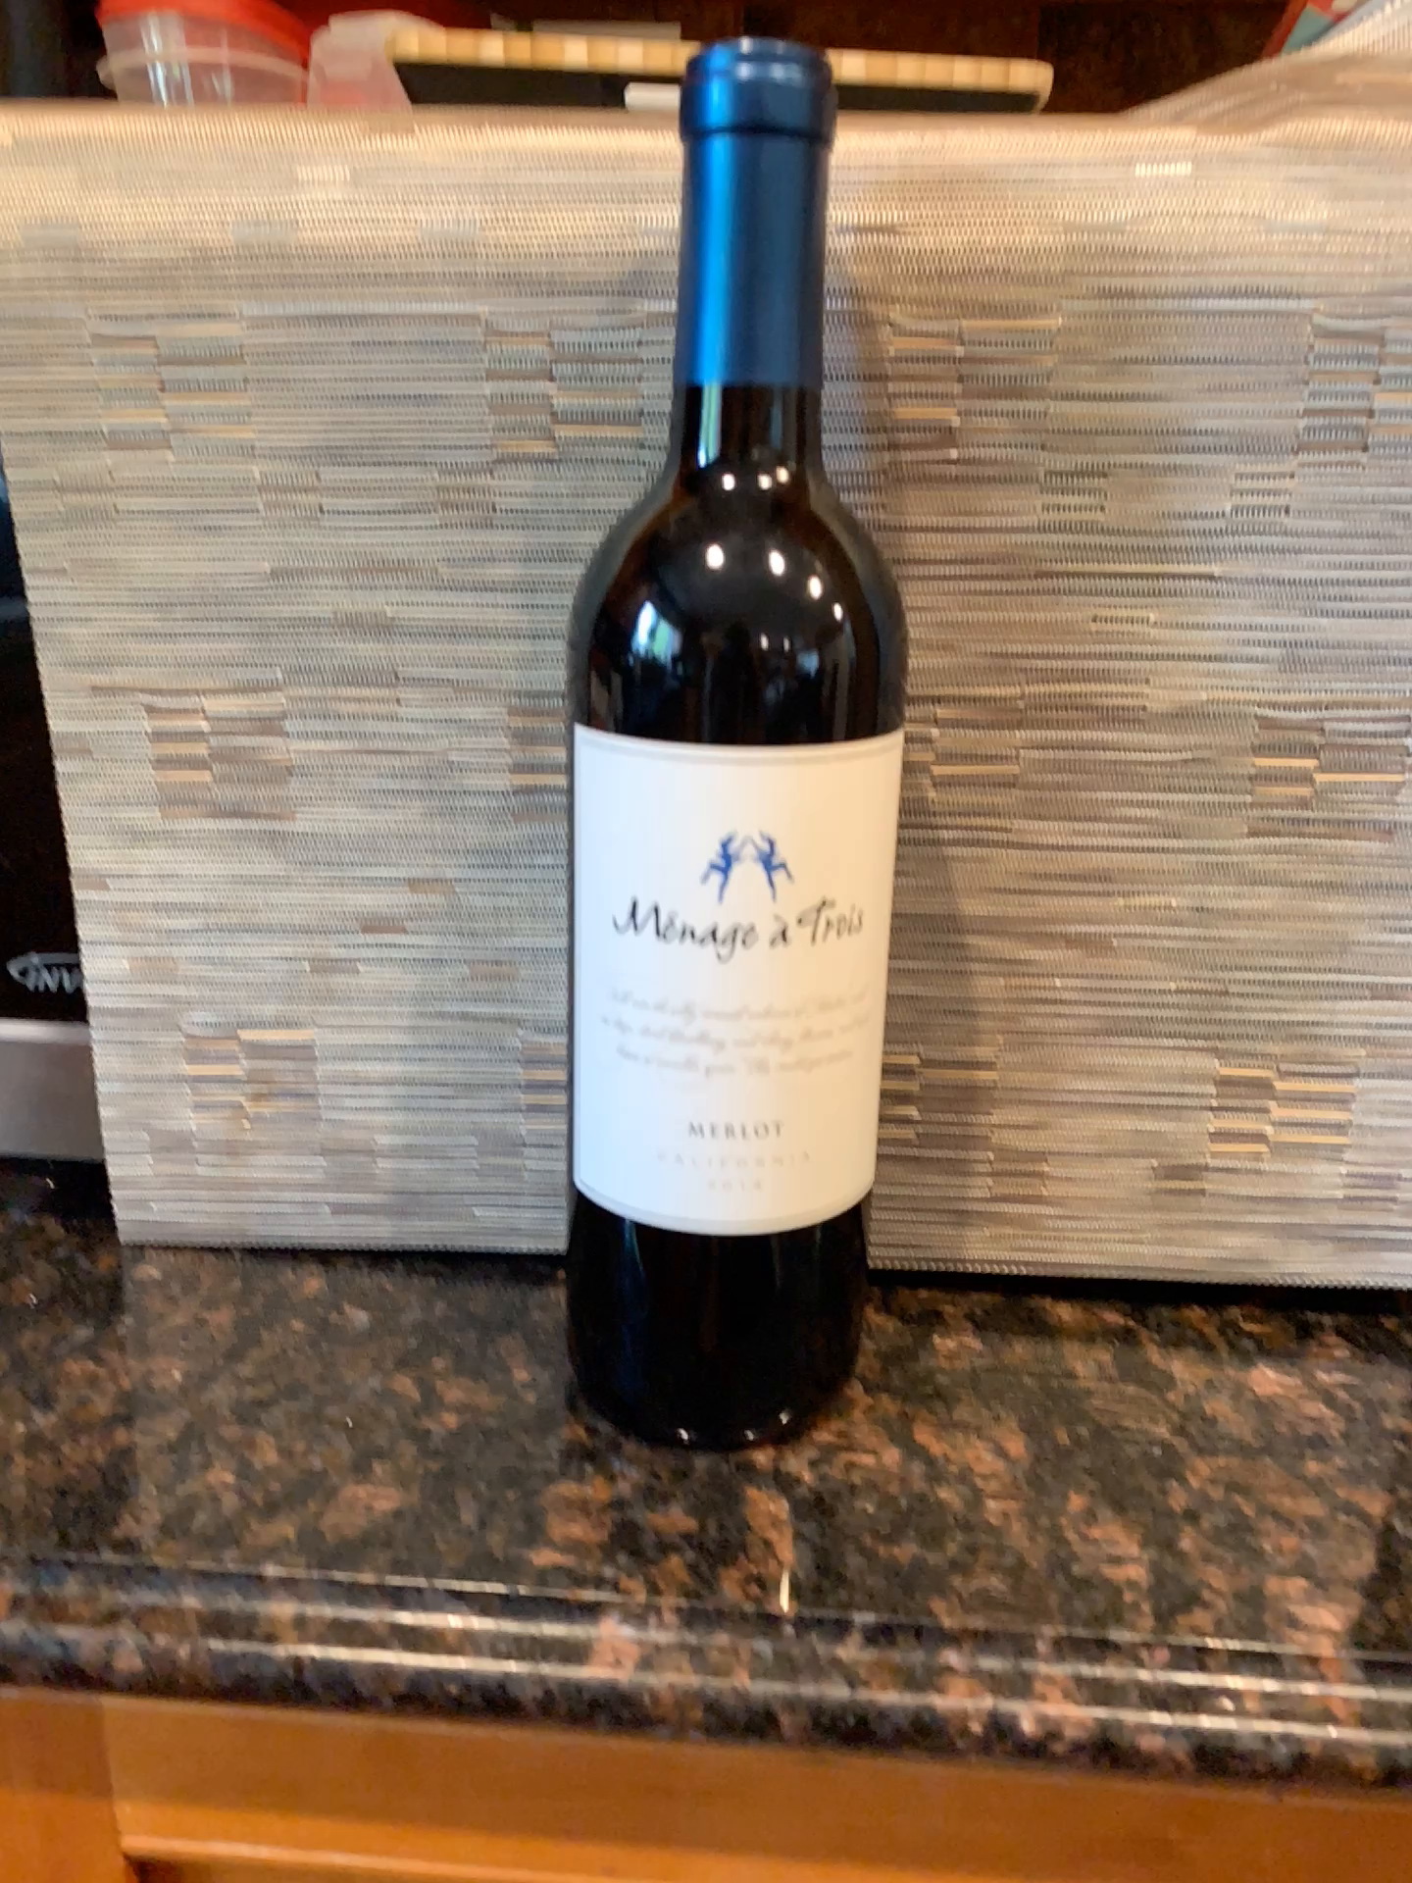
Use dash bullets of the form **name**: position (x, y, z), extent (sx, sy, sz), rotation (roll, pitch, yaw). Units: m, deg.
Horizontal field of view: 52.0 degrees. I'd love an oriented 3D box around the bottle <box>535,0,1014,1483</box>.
- **bottle**: position (0.008, -0.036, 0.328), extent (0.080, 0.309, 0.080), rotation (2, 18, -1)
